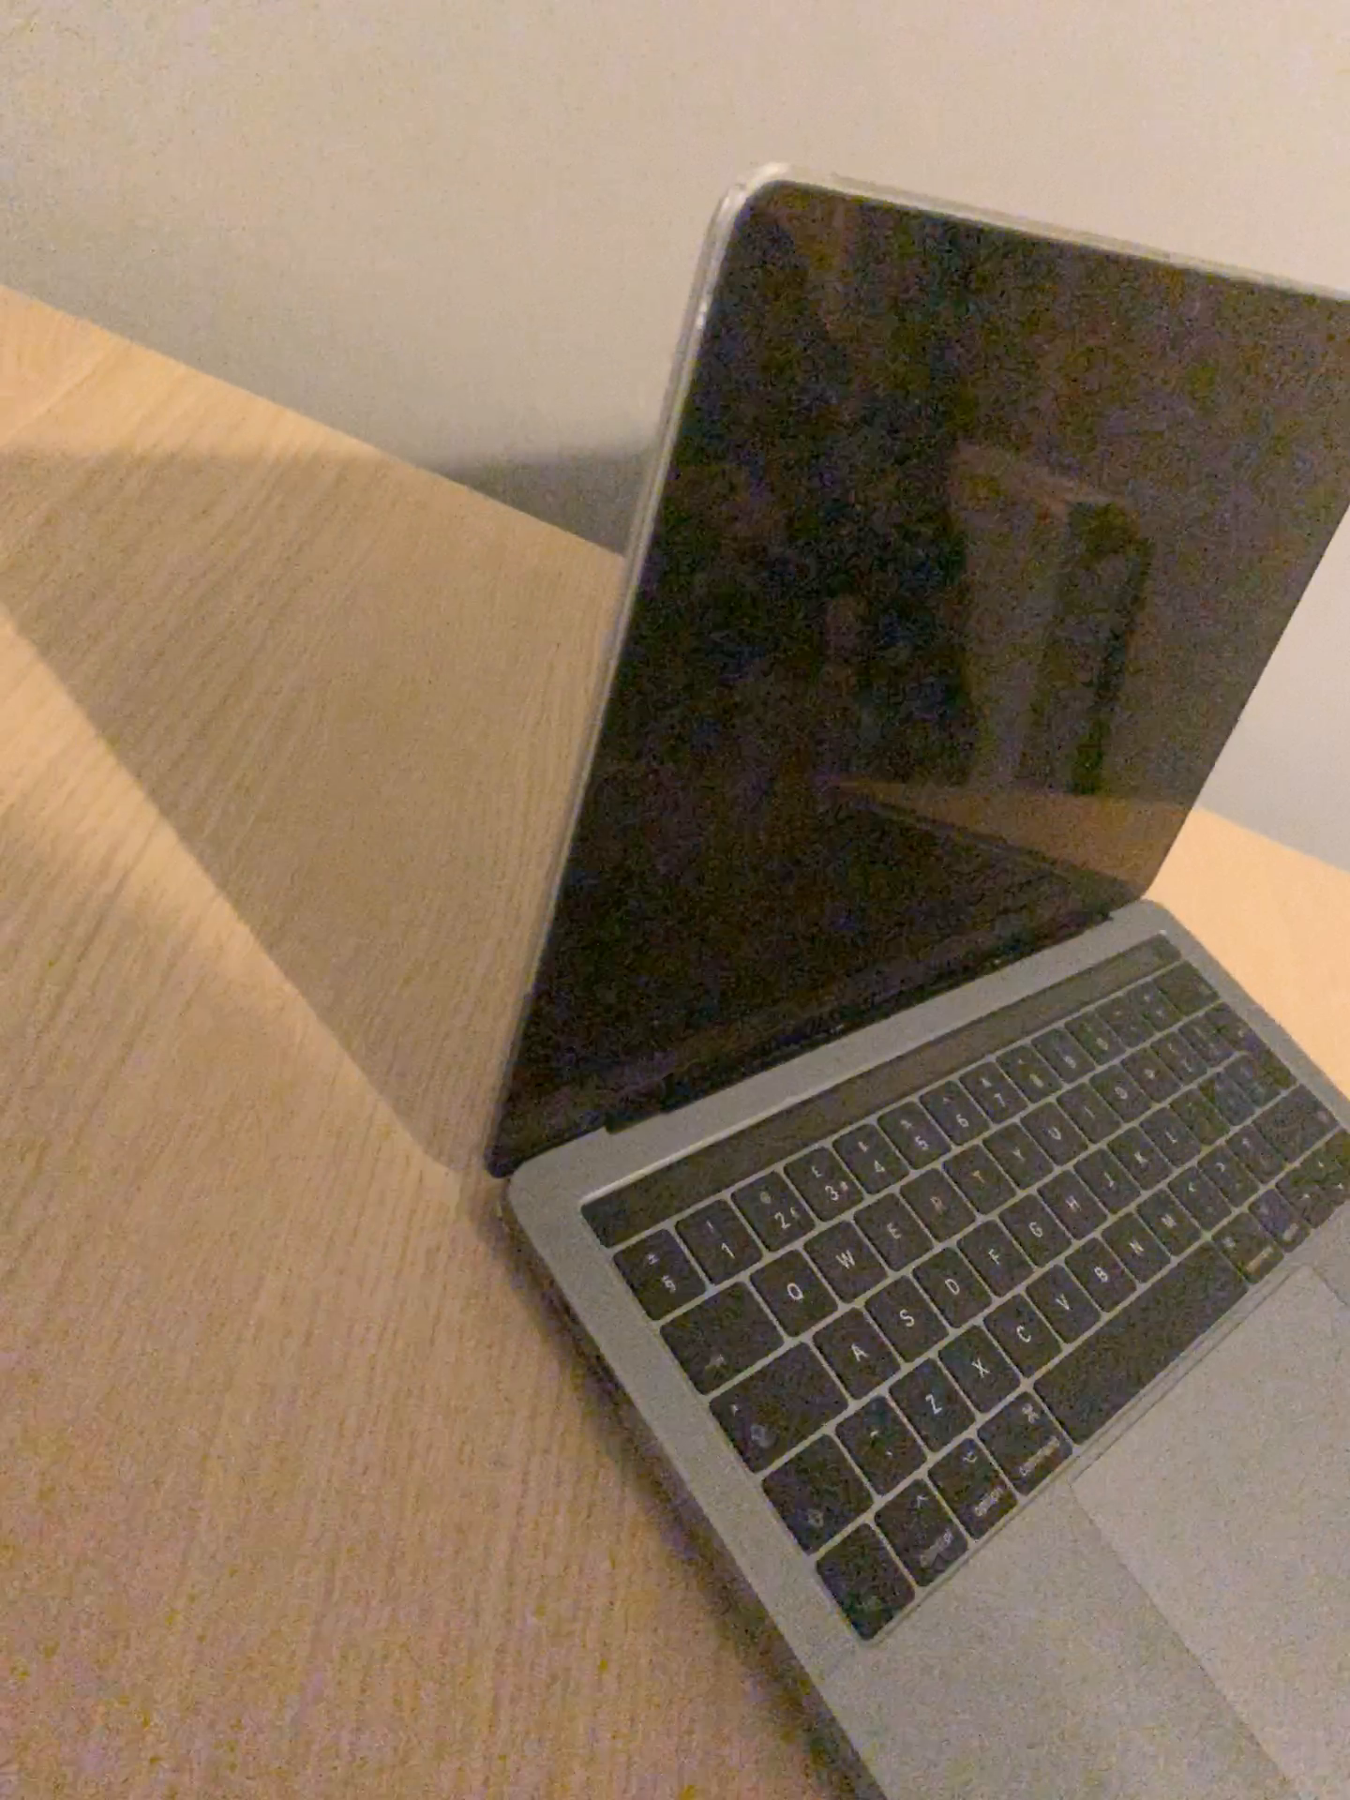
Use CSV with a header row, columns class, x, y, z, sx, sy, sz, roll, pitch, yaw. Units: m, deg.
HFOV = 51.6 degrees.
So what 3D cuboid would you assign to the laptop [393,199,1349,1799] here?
class,x,y,z,sx,sy,sz,roll,pitch,yaw
laptop,0.151,0.024,0.317,0.295,0.197,0.257,-16,59,-42
